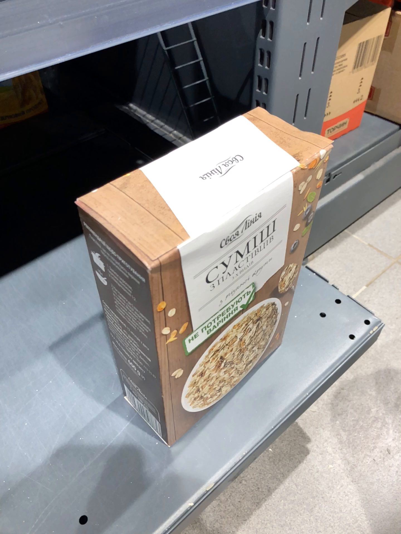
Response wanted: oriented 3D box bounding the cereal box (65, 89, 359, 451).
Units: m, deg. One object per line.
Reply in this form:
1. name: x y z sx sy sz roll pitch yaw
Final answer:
1. cereal box: 0.013 0.012 0.312 0.161 0.208 0.060 -35 56 -28
